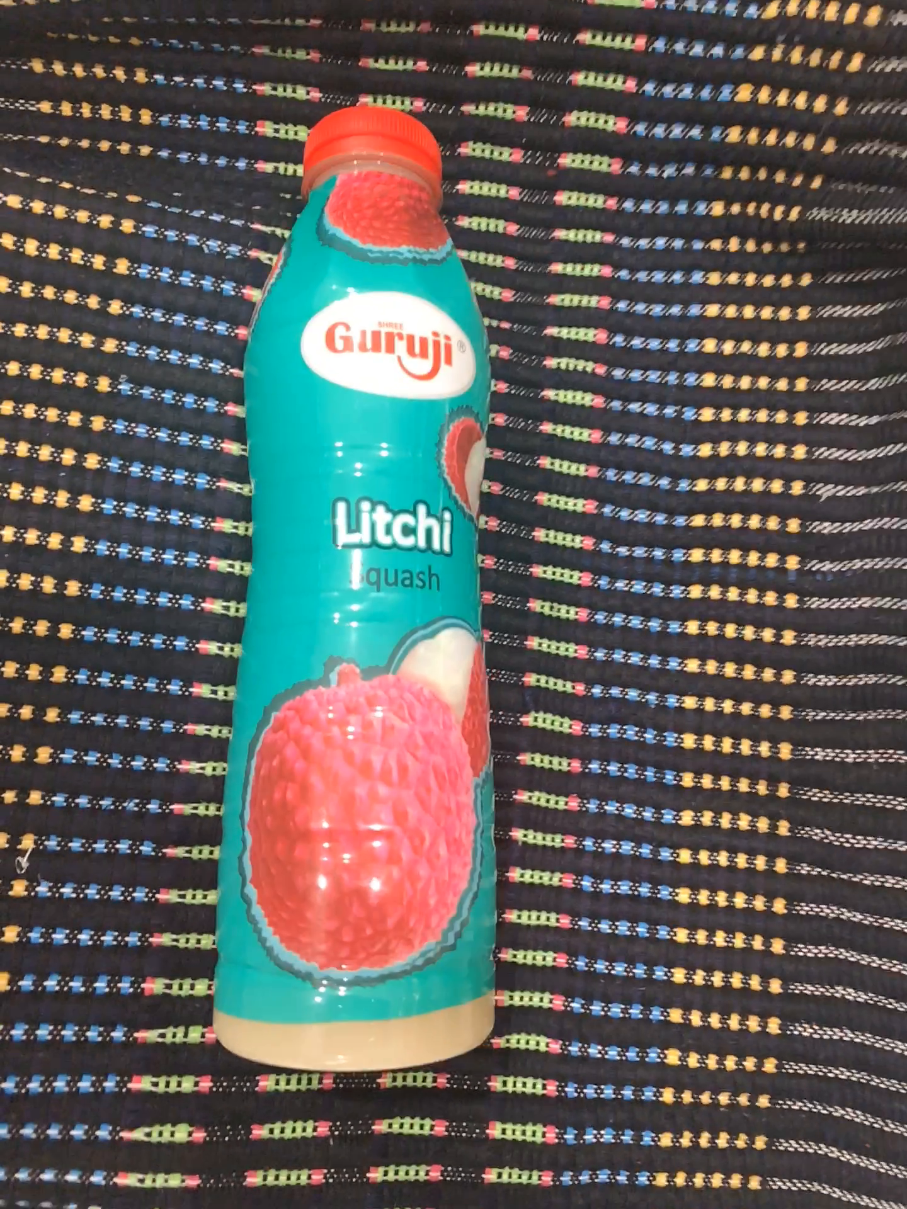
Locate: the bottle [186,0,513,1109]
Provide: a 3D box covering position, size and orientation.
[{"bbox_3d":[-0.035,-0.021,0.275,0.070,0.080,0.280,3,76,-17],"label":"bottle"}]
